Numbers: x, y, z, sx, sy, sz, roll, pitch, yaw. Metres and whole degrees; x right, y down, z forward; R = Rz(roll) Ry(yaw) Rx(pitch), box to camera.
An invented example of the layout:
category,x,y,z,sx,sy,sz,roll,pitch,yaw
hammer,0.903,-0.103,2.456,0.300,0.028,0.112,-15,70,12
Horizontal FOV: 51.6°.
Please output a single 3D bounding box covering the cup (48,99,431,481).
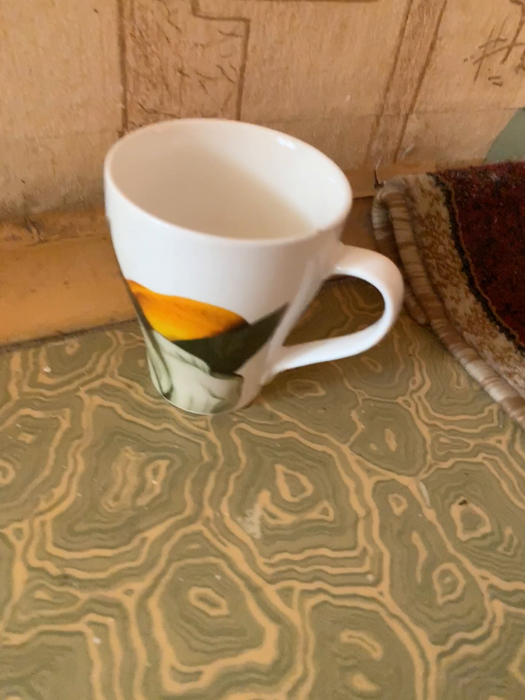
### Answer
category,x,y,z,sx,sy,sz,roll,pitch,yaw
cup,-0.006,-0.028,0.234,0.118,0.099,0.094,17,44,6
